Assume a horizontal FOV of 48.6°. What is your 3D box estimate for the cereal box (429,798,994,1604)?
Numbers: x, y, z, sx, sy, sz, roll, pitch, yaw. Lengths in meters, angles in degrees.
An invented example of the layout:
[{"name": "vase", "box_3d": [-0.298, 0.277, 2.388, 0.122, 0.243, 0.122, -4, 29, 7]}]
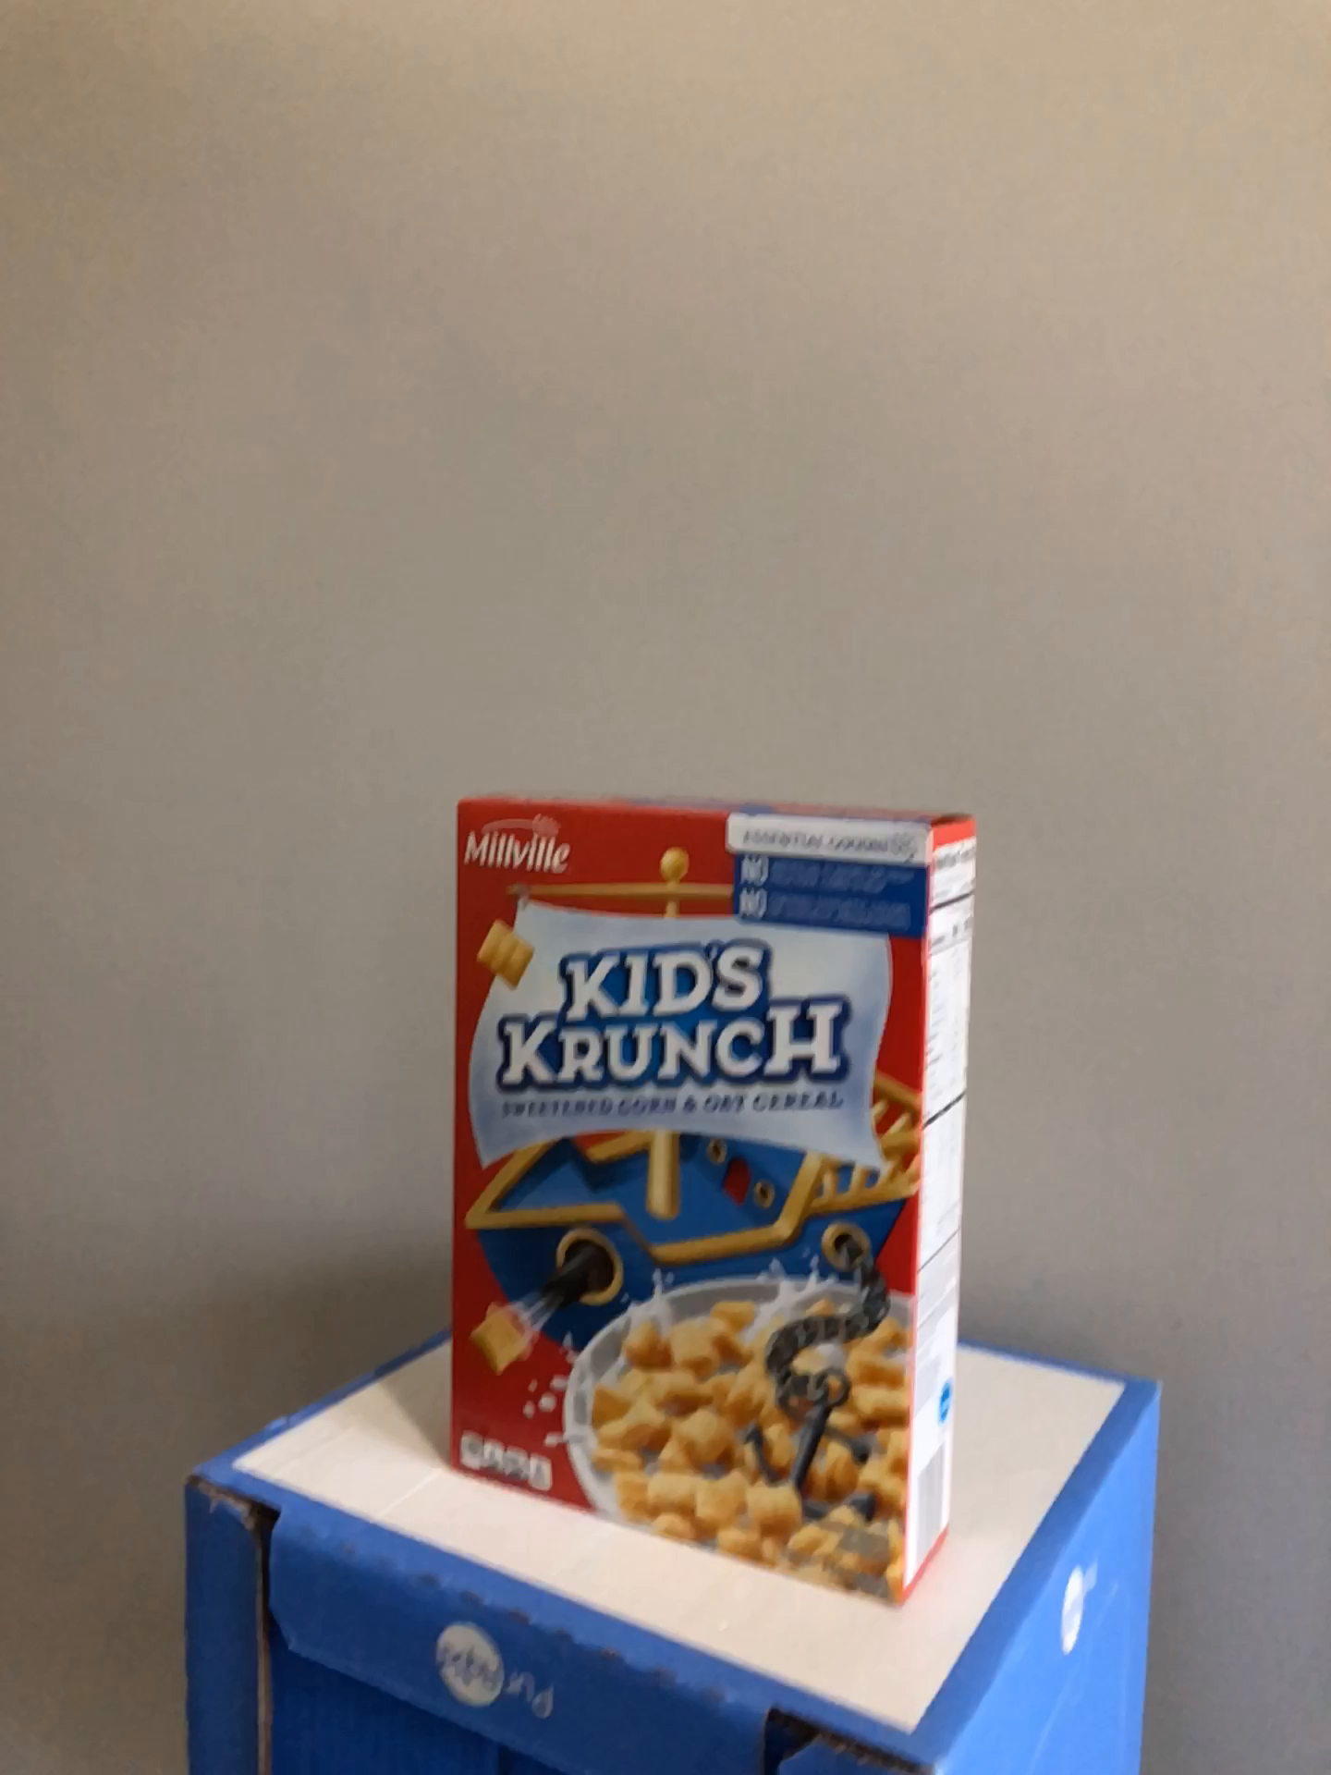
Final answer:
[{"name": "cereal box", "box_3d": [0.011, 0.105, 0.573, 0.210, 0.270, 0.060, 4, 7, 28]}]
